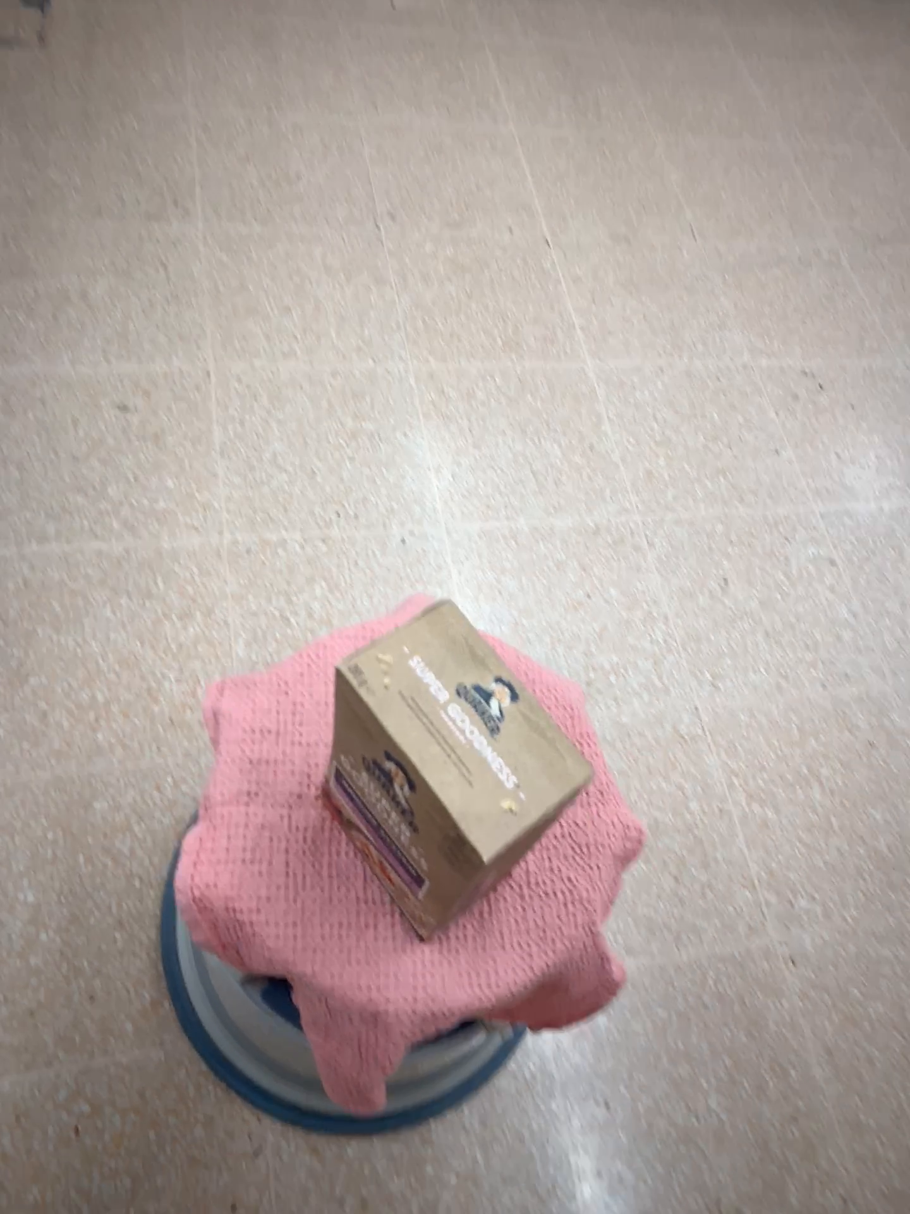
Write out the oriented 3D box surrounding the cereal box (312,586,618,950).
[{"bbox_3d":[-0.009,0.108,0.562,0.090,0.209,0.130,-33,71,-25],"label":"cereal box"}]
